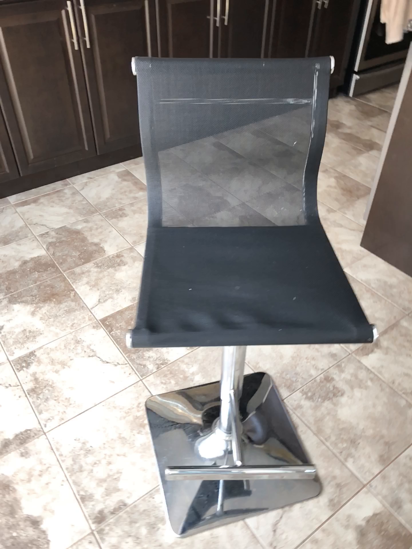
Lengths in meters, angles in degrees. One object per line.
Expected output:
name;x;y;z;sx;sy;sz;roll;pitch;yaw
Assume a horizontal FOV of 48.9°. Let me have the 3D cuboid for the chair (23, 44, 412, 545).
chair;0.072;0.096;0.996;0.540;0.976;0.552;-1;40;-1
